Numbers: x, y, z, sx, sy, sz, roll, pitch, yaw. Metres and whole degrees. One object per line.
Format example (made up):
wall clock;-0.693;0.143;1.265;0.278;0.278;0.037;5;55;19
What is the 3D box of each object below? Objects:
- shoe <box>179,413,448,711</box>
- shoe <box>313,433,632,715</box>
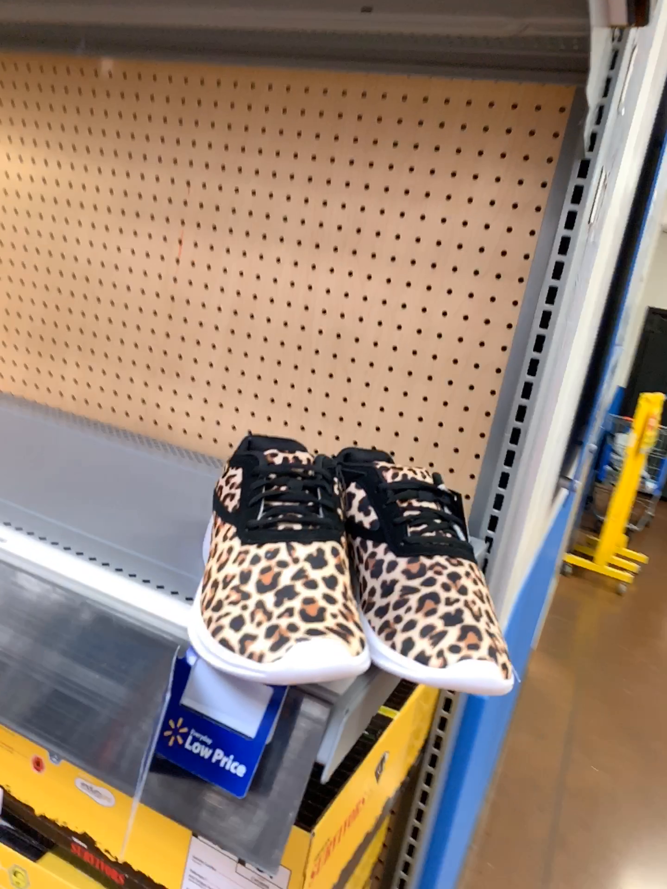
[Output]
shoe;-0.030;0.058;0.451;0.119;0.091;0.241;9;13;-13
shoe;0.073;0.073;0.478;0.110;0.091;0.241;8;13;-16
